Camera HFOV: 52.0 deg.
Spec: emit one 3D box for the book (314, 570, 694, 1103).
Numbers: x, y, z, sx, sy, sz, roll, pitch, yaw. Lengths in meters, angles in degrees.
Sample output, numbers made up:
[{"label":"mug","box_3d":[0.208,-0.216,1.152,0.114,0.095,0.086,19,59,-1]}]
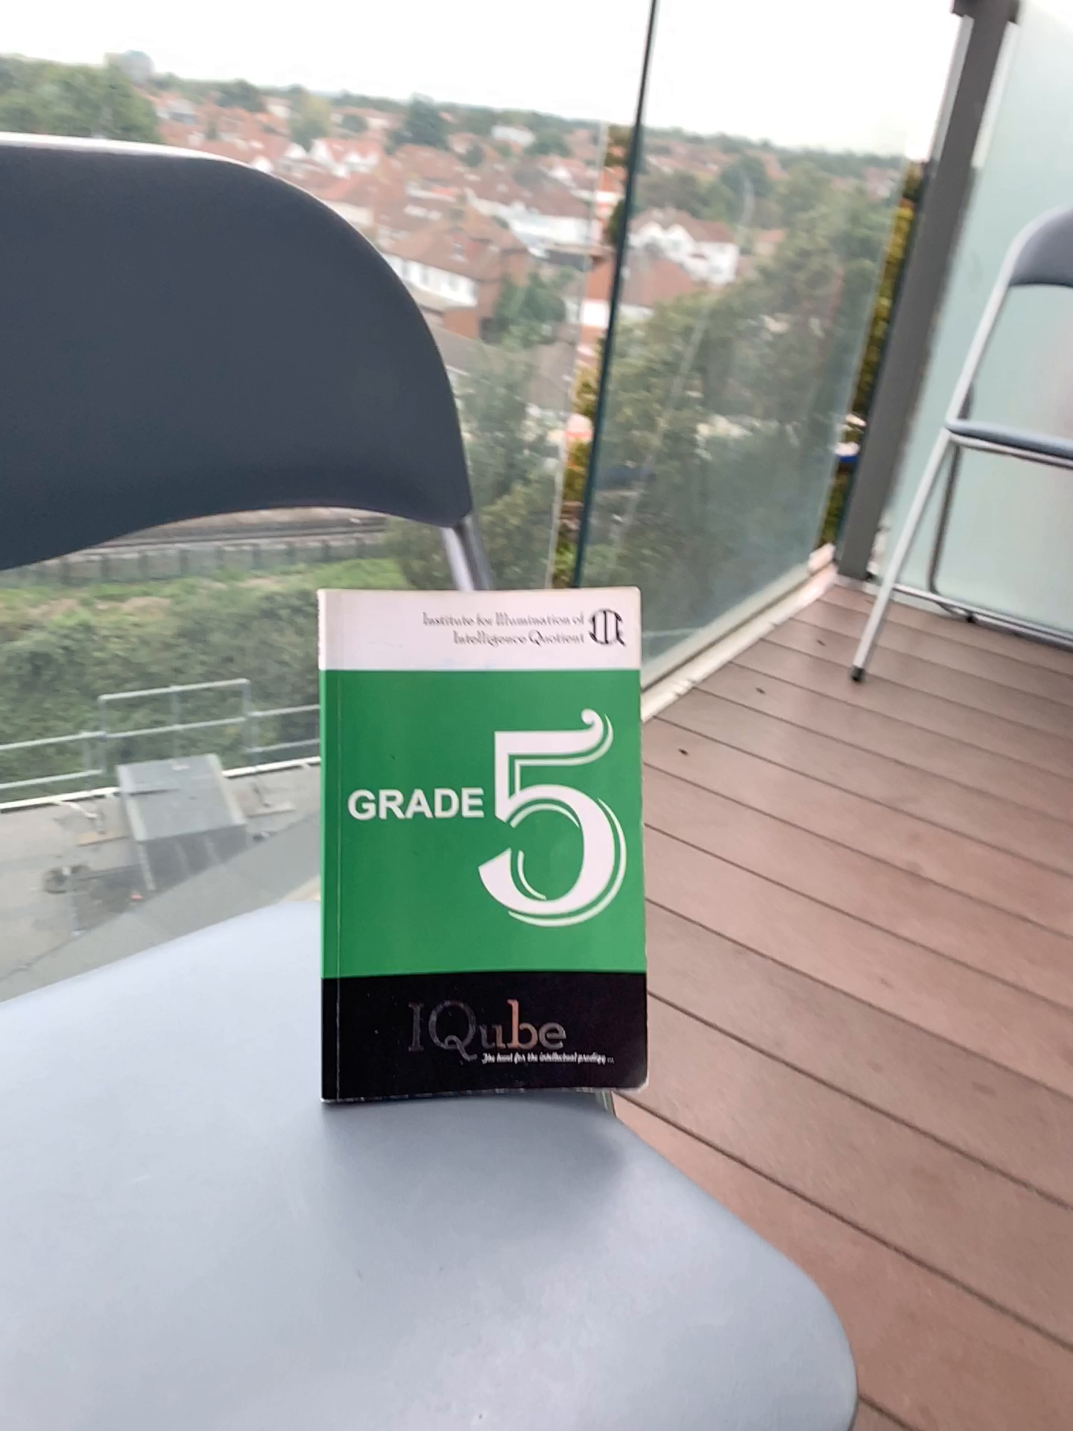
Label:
[{"label":"book","box_3d":[-0.015,0.046,0.467,0.150,0.210,0.040,-1,-4,-7]}]
